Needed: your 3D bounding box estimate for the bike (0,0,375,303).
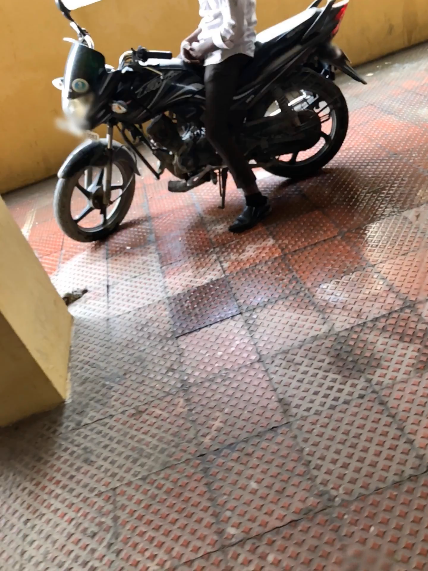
[{"bbox_3d":[-0.156,-0.928,2.656,1.876,1.185,0.814,-20,35,-1],"label":"bike"}]
